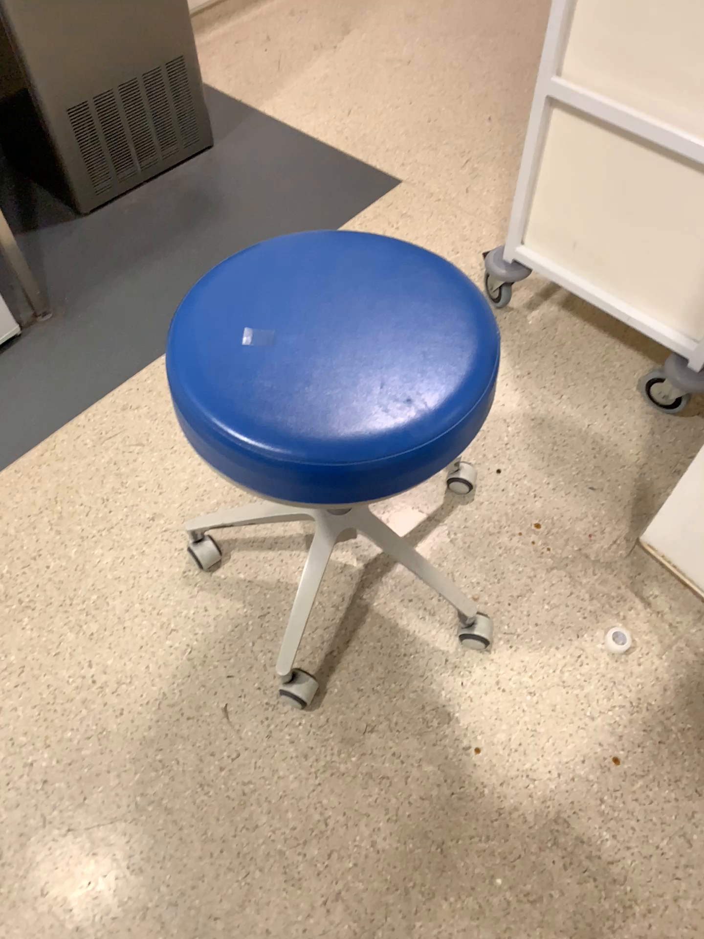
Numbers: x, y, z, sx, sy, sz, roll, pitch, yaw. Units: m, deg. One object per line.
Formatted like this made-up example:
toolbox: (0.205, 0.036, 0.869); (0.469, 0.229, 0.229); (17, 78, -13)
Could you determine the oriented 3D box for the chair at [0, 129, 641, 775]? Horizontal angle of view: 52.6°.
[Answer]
chair: (-0.027, -0.012, 1.120); (0.582, 0.635, 0.573); (27, 60, 18)
